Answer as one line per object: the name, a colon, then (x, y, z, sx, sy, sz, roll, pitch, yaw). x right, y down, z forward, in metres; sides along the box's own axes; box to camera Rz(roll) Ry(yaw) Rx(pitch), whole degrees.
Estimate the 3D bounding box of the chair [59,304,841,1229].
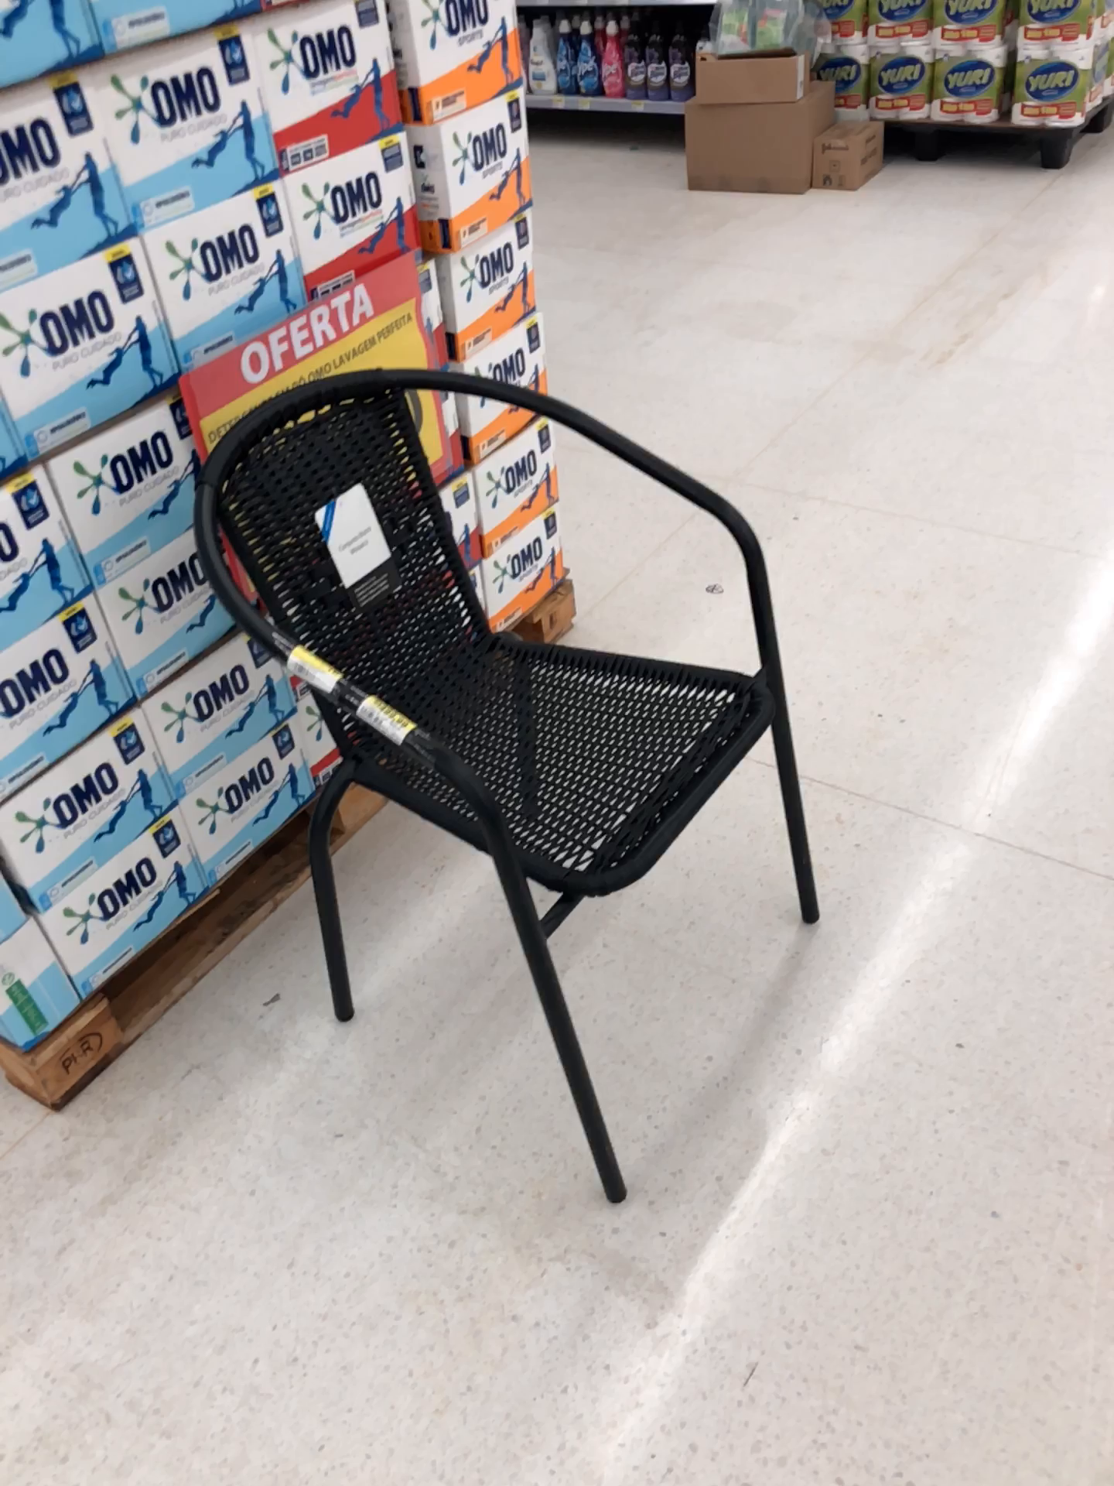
chair: (-0.049, 0.005, 1.312, 0.501, 0.725, 0.502, 19, 46, 30)
